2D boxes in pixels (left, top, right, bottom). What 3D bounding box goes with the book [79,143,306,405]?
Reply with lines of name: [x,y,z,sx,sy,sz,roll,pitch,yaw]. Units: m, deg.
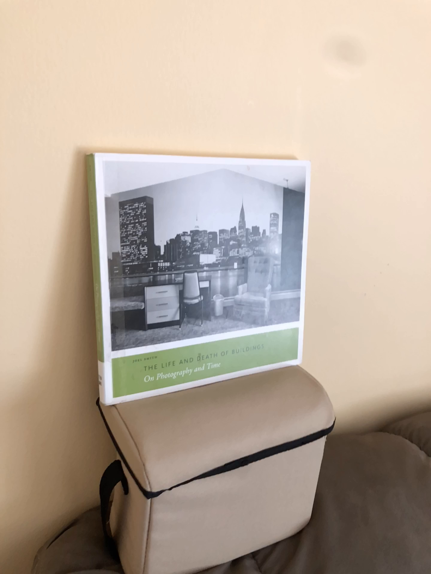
book: [-0.009,-0.017,0.432,0.216,0.204,0.020,-6,12,-32]
